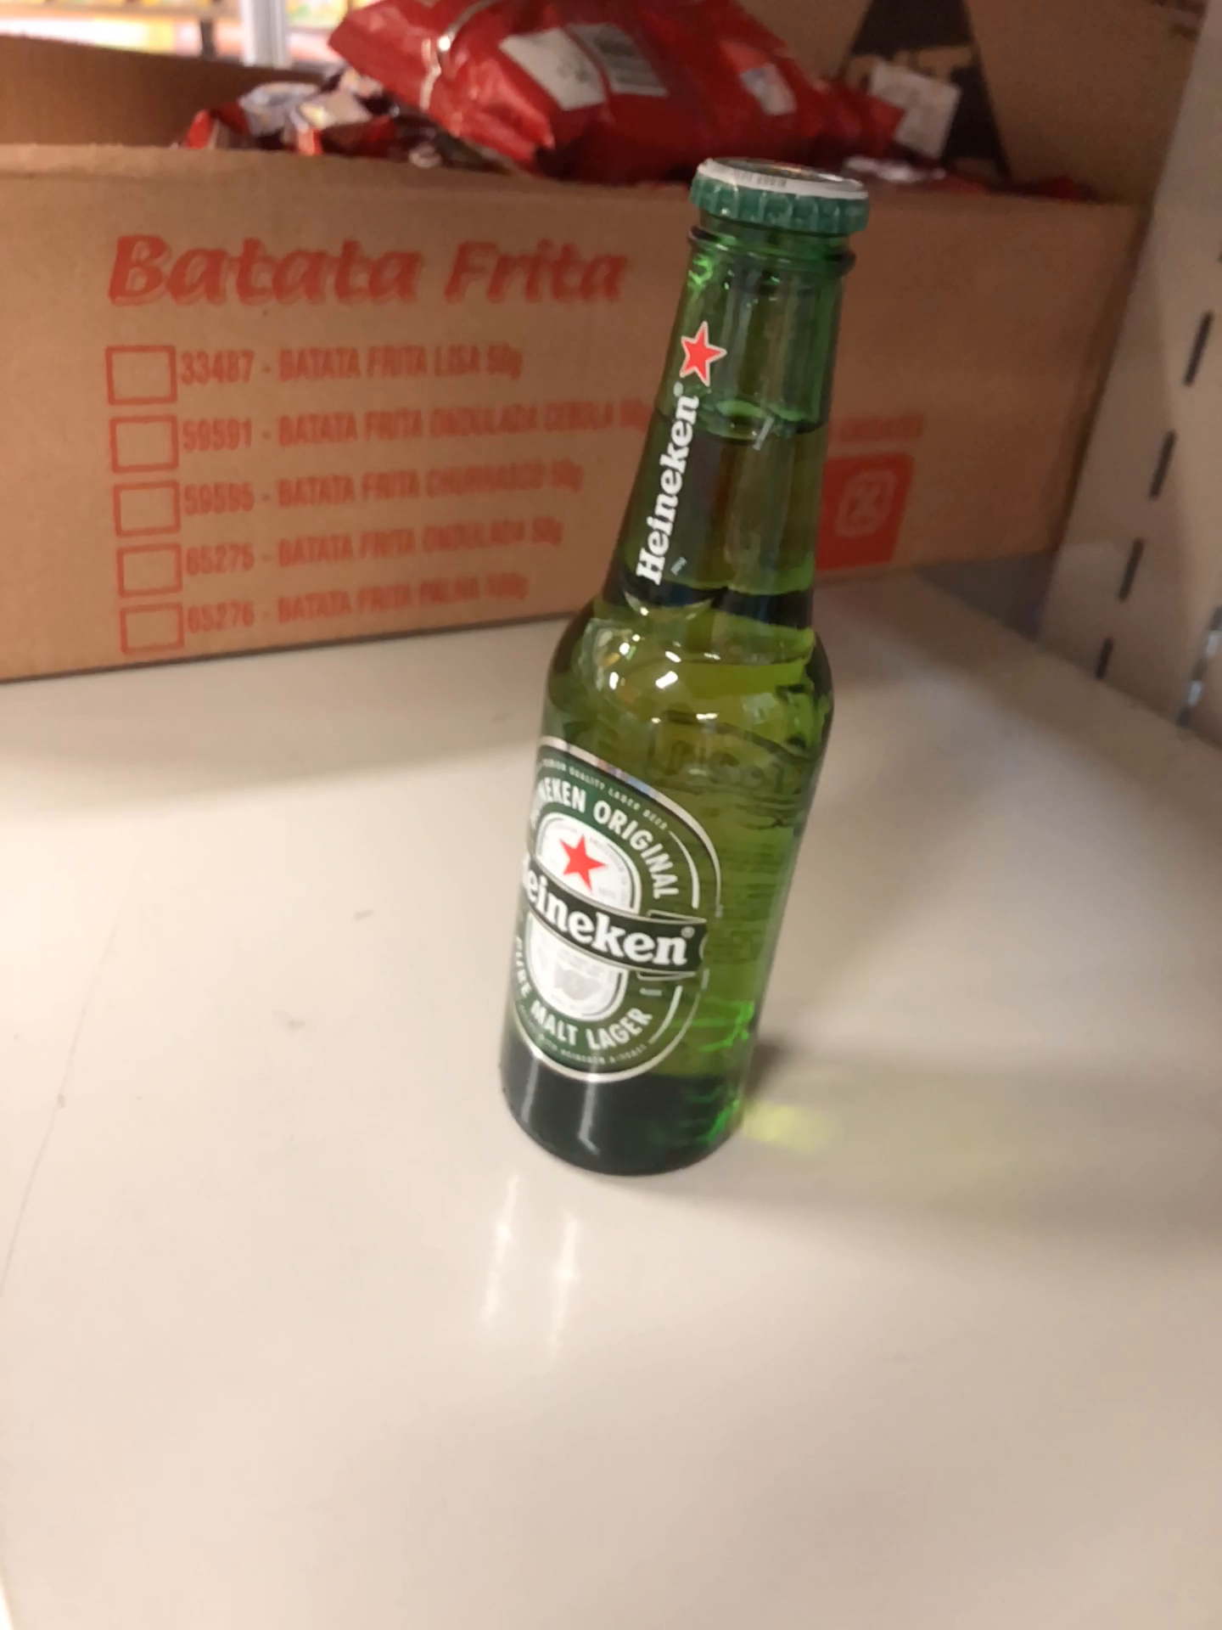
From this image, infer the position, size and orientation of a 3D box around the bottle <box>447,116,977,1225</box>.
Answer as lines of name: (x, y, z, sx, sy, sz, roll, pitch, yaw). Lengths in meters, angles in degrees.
bottle: (0.011, -0.021, 0.268, 0.060, 0.198, 0.060, 4, 32, -2)
